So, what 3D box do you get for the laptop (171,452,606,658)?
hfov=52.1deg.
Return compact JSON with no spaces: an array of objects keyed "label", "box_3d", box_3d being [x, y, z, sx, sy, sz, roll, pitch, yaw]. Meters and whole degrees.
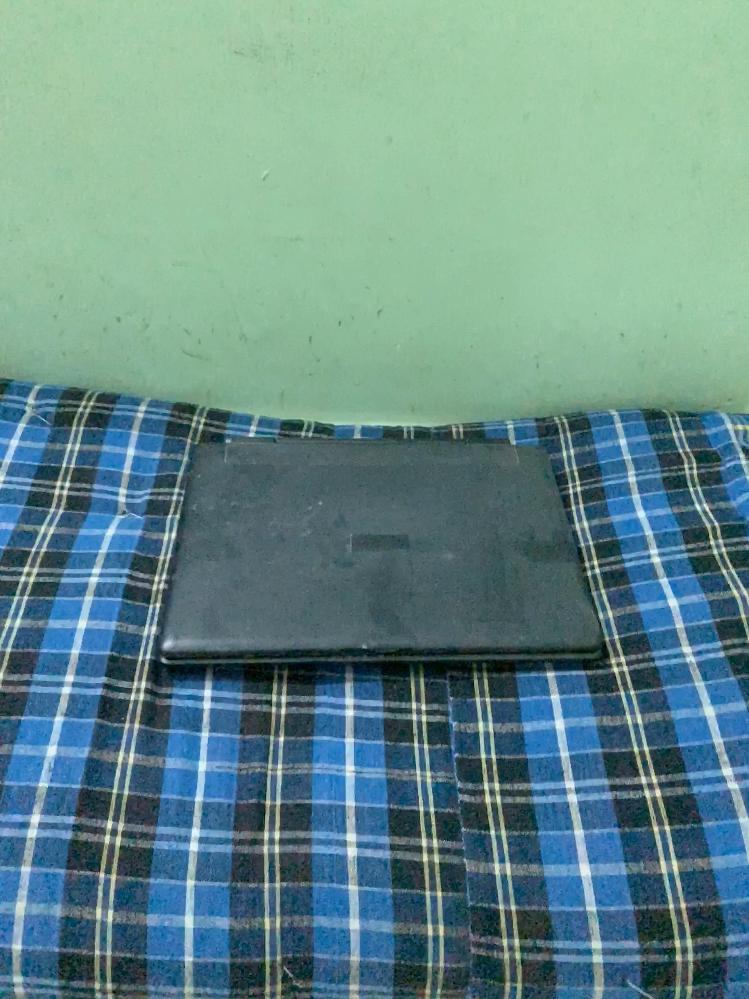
[{"label":"laptop","box_3d":[0.008,0.036,0.643,0.323,0.005,0.216,0,46,-4]}]
